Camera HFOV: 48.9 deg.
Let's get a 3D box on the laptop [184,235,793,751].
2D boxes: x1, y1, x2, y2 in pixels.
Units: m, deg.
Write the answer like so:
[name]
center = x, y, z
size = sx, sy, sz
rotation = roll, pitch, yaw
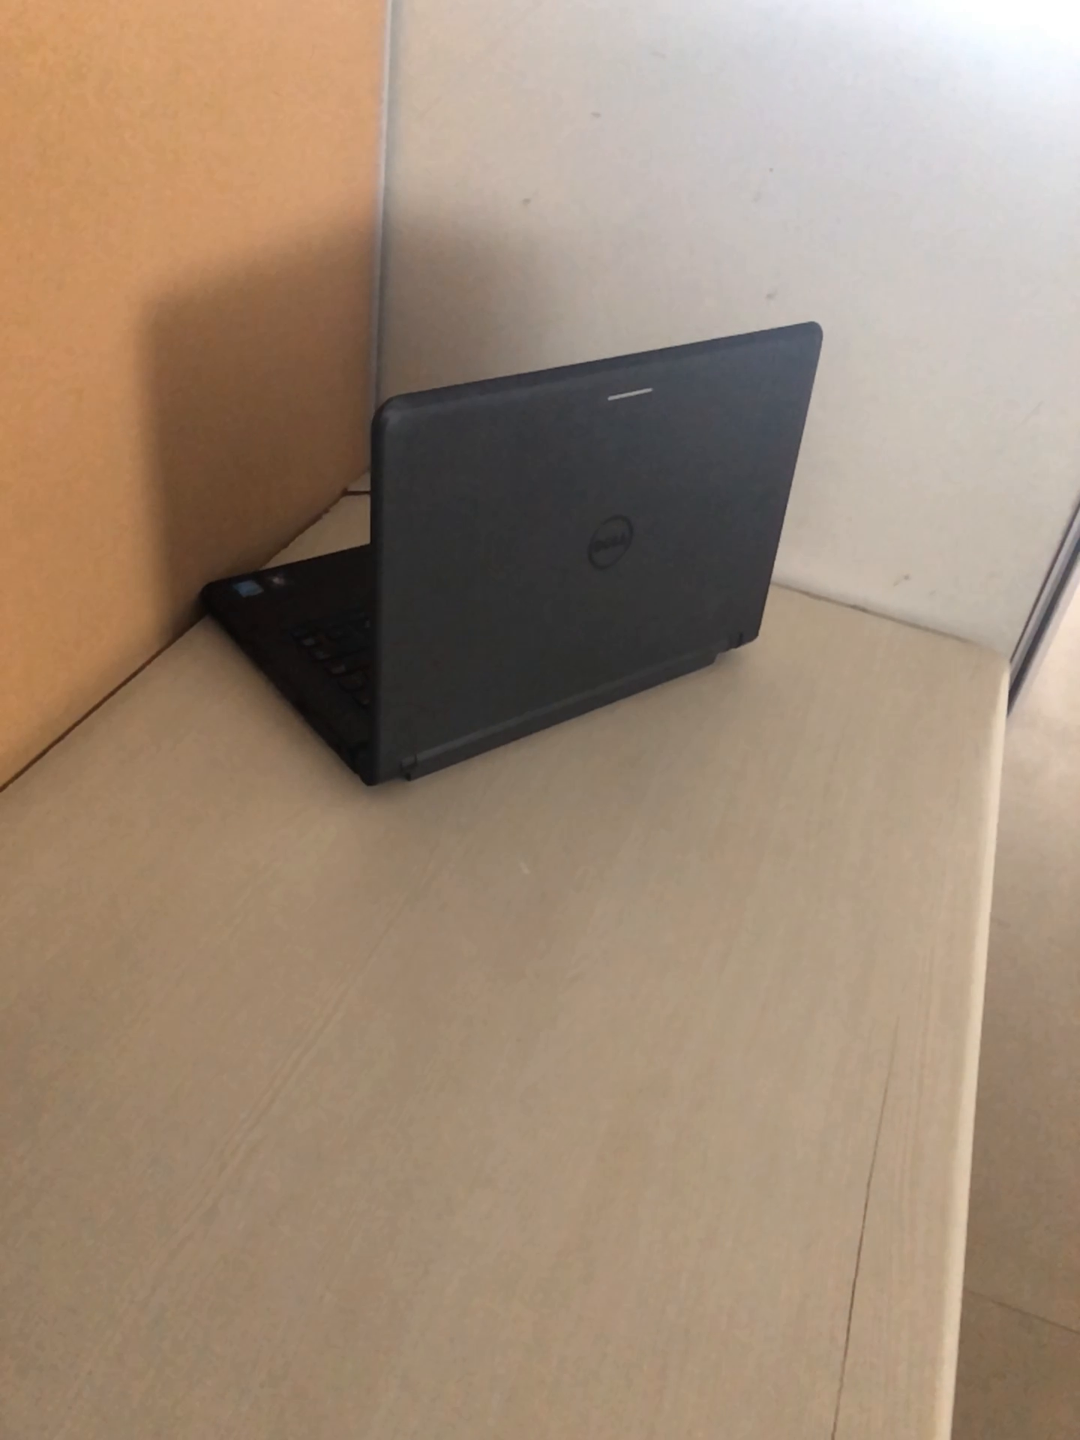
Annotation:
[laptop]
center = -0.038, -0.168, 0.780
size = 0.305, 0.211, 0.215
rotation = -21, 45, -34
